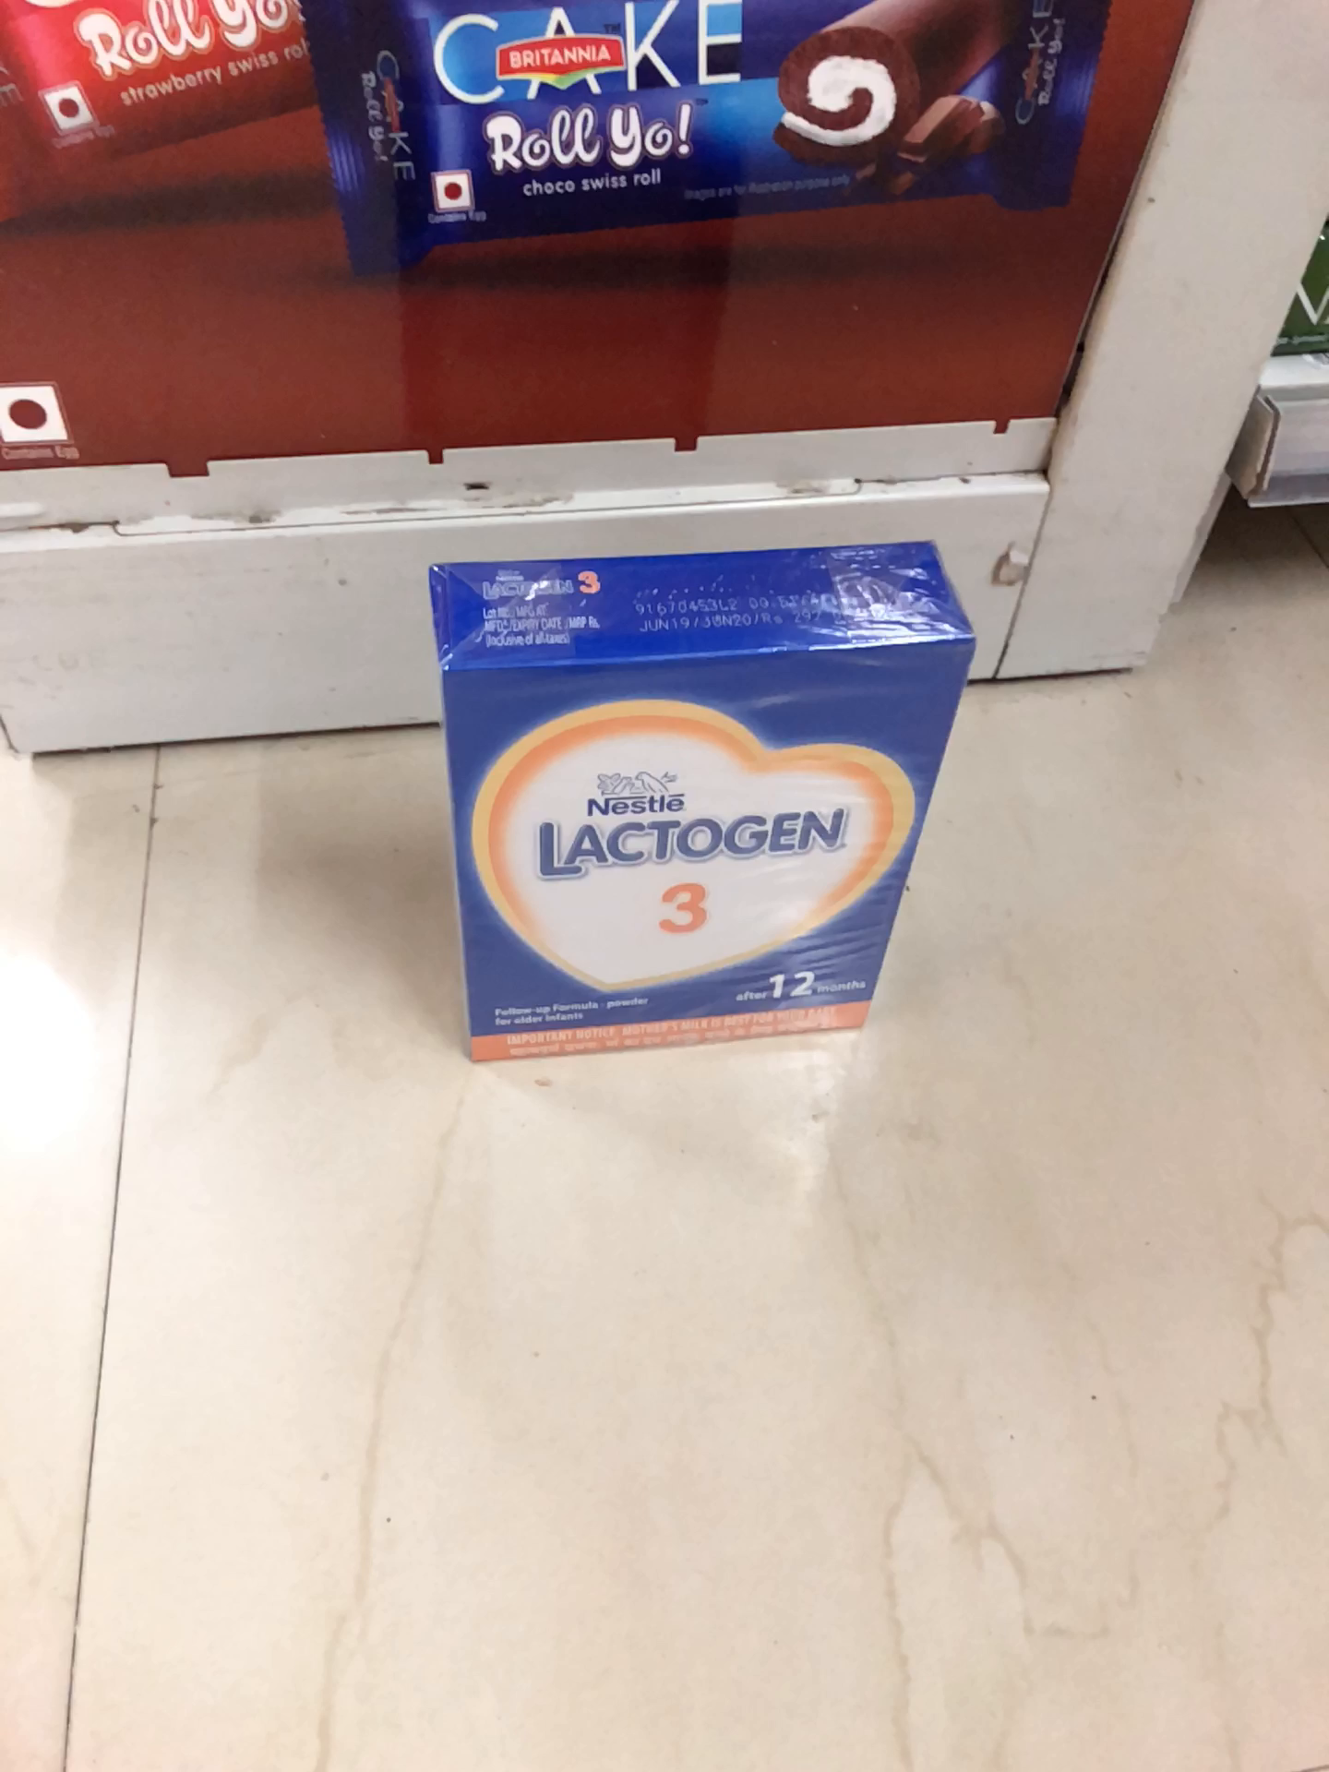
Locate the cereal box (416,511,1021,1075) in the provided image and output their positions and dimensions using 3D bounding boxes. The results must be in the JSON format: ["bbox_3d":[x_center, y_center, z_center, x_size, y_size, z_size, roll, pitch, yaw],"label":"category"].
[{"bbox_3d":[0.008,-0.022,0.477,0.160,0.189,0.060,-4,51,-7],"label":"cereal box"}]
